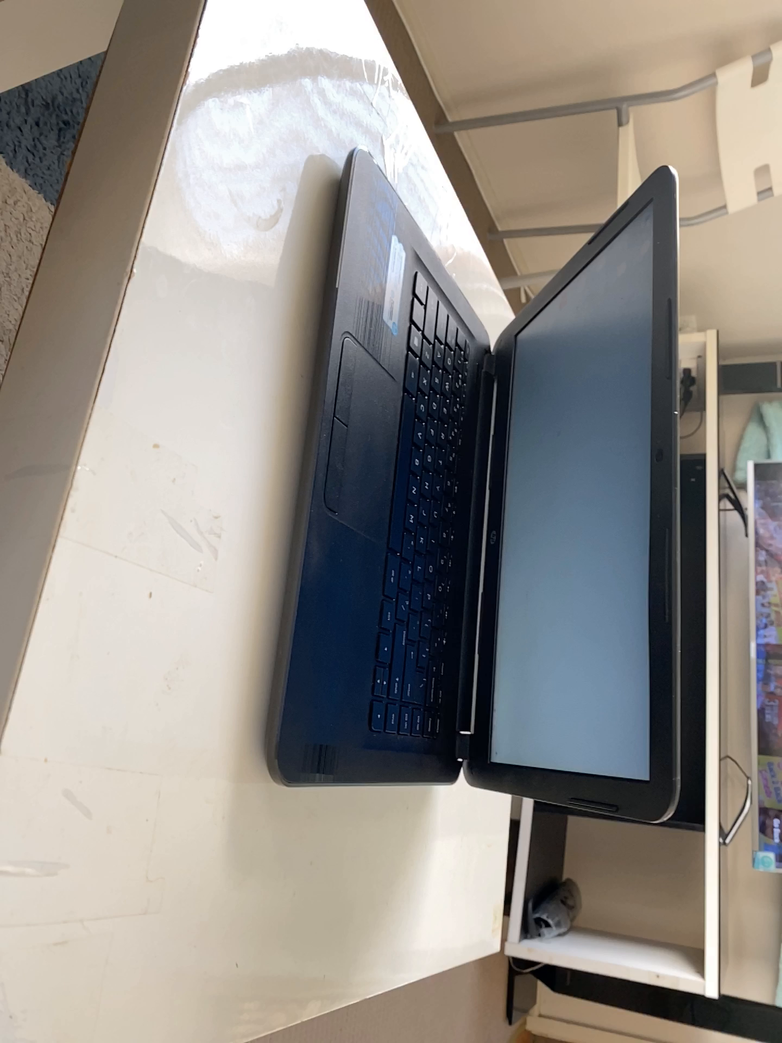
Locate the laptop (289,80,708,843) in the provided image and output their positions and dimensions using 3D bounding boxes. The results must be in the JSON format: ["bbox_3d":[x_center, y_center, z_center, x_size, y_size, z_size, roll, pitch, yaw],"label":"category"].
[{"bbox_3d":[0.087,-0.016,0.463,0.226,0.154,0.335,34,58,-60],"label":"laptop"}]
